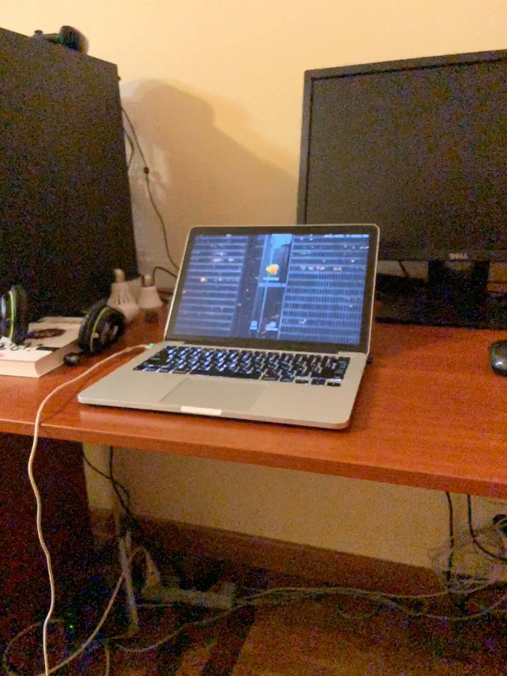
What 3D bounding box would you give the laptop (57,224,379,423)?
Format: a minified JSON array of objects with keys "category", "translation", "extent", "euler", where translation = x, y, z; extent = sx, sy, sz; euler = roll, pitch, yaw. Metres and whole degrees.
[{"category":"laptop","translation":[-0.007,-0.051,0.679],"extent":[0.300,0.155,0.342],"euler":[3,18,16]}]
